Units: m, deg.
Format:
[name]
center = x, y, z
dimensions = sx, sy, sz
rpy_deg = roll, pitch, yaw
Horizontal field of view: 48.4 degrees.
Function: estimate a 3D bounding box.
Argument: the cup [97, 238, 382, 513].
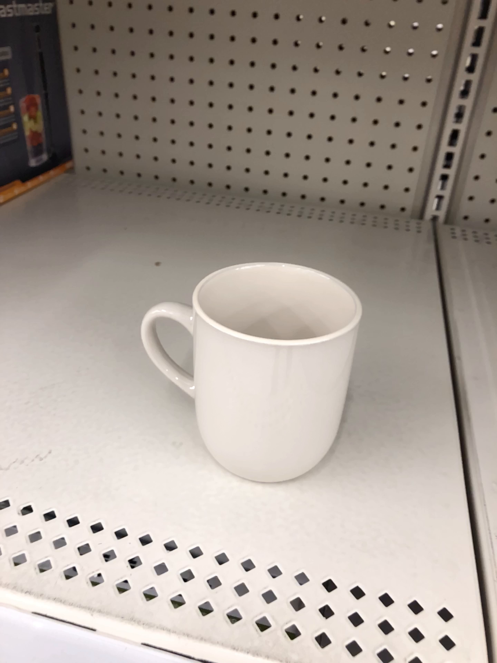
[cup]
center = -0.002, 0.017, 0.302
dimensions = 0.121, 0.090, 0.087
rpy_deg = 13, 31, 16
